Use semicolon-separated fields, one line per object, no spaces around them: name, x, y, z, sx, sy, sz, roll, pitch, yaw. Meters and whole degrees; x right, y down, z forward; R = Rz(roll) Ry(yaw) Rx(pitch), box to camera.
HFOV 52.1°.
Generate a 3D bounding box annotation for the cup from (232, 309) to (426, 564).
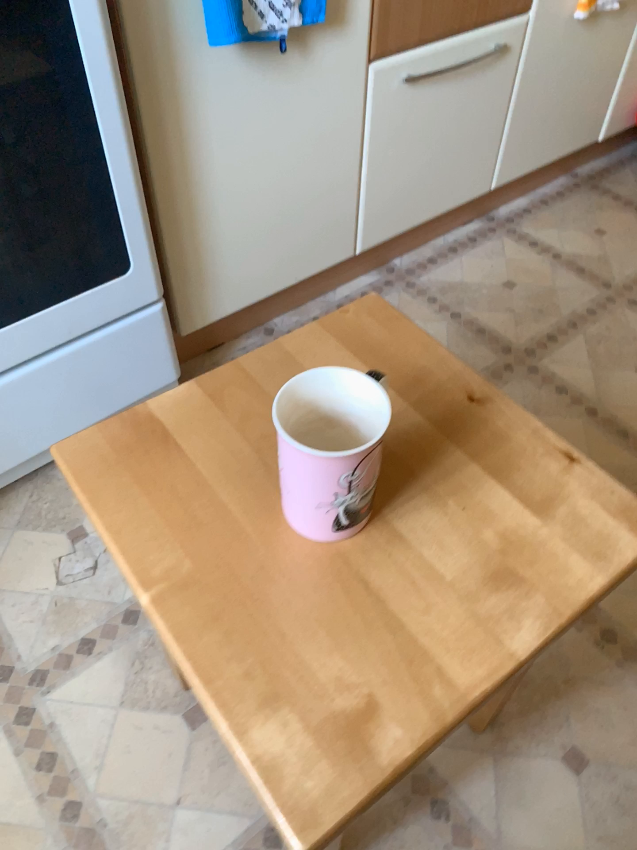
cup;0.010;0.006;0.443;0.080;0.099;0.121;19;51;15
